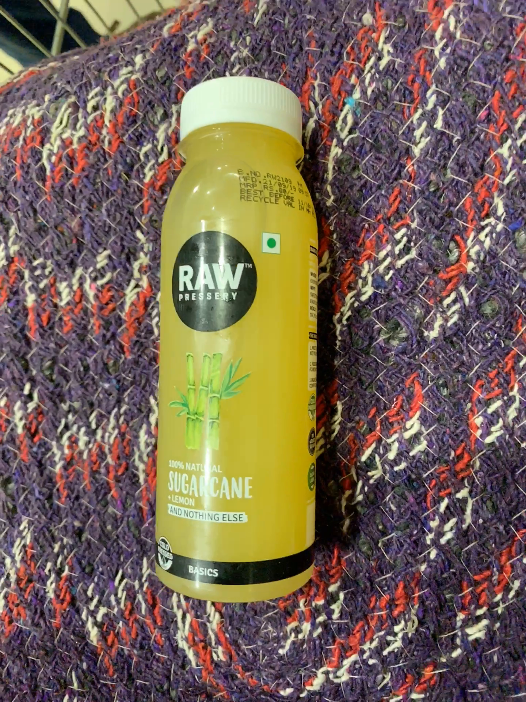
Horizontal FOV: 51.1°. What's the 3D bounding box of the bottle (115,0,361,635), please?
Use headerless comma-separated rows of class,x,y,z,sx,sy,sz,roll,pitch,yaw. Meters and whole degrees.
bottle,-0.004,-0.010,0.171,0.060,0.050,0.160,0,89,20
